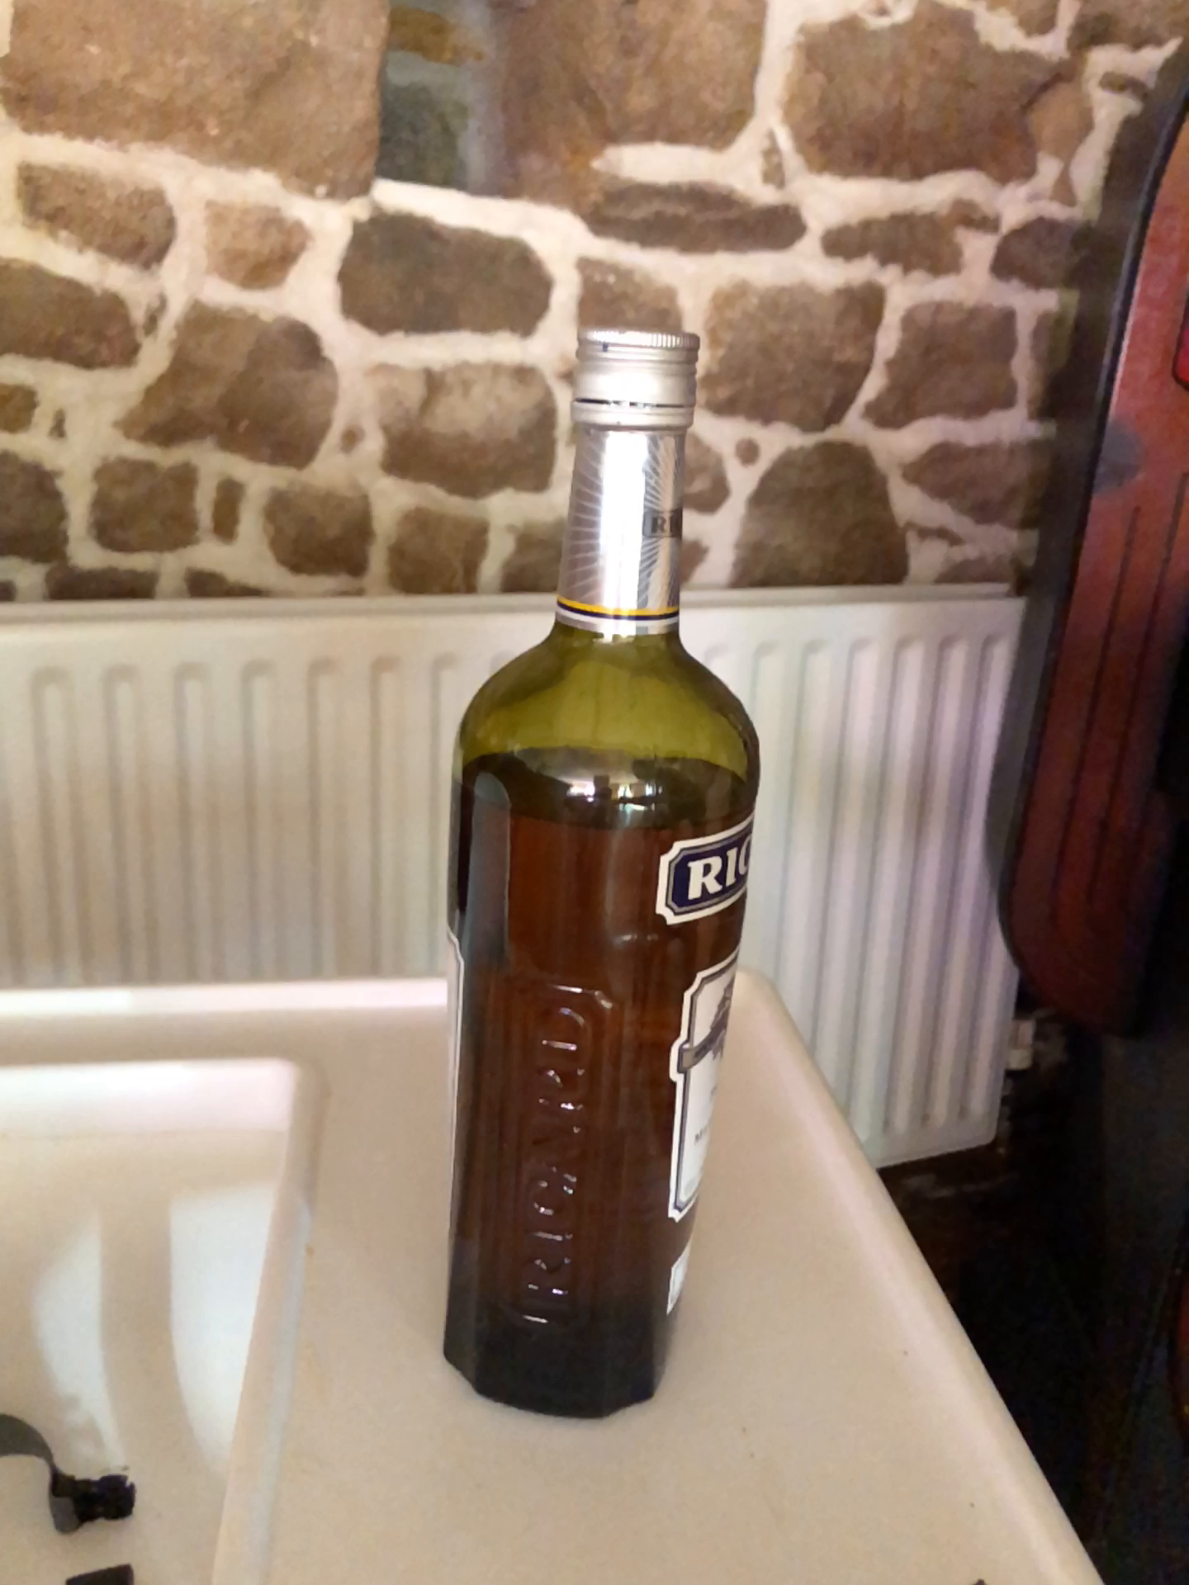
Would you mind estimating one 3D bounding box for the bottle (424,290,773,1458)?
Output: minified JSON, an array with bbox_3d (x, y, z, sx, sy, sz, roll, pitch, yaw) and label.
[{"bbox_3d":[0.000,0.024,0.364,0.070,0.299,0.090,5,18,9],"label":"bottle"}]
